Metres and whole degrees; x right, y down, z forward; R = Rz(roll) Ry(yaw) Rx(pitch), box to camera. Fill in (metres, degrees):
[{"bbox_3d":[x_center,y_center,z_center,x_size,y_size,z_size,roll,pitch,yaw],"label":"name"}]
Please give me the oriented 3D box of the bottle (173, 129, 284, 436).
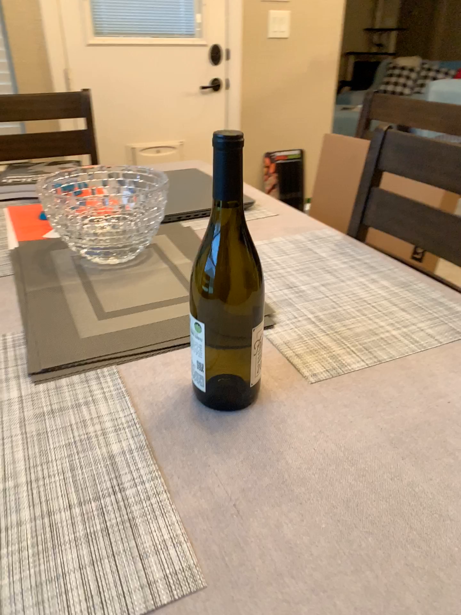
[{"bbox_3d":[-0.007,-0.016,0.469,0.080,0.288,0.090,-4,30,-9],"label":"bottle"}]
